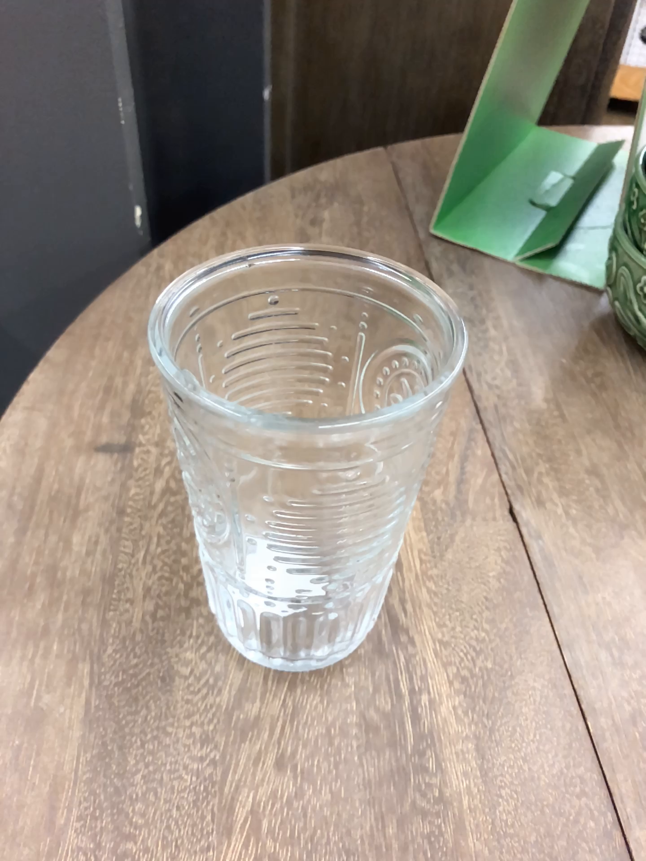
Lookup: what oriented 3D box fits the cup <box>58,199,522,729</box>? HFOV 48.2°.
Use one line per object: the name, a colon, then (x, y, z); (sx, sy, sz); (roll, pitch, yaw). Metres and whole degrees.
cup: (-0.005, 0.008, 0.217); (0.085, 0.107, 0.088); (2, 43, -2)
